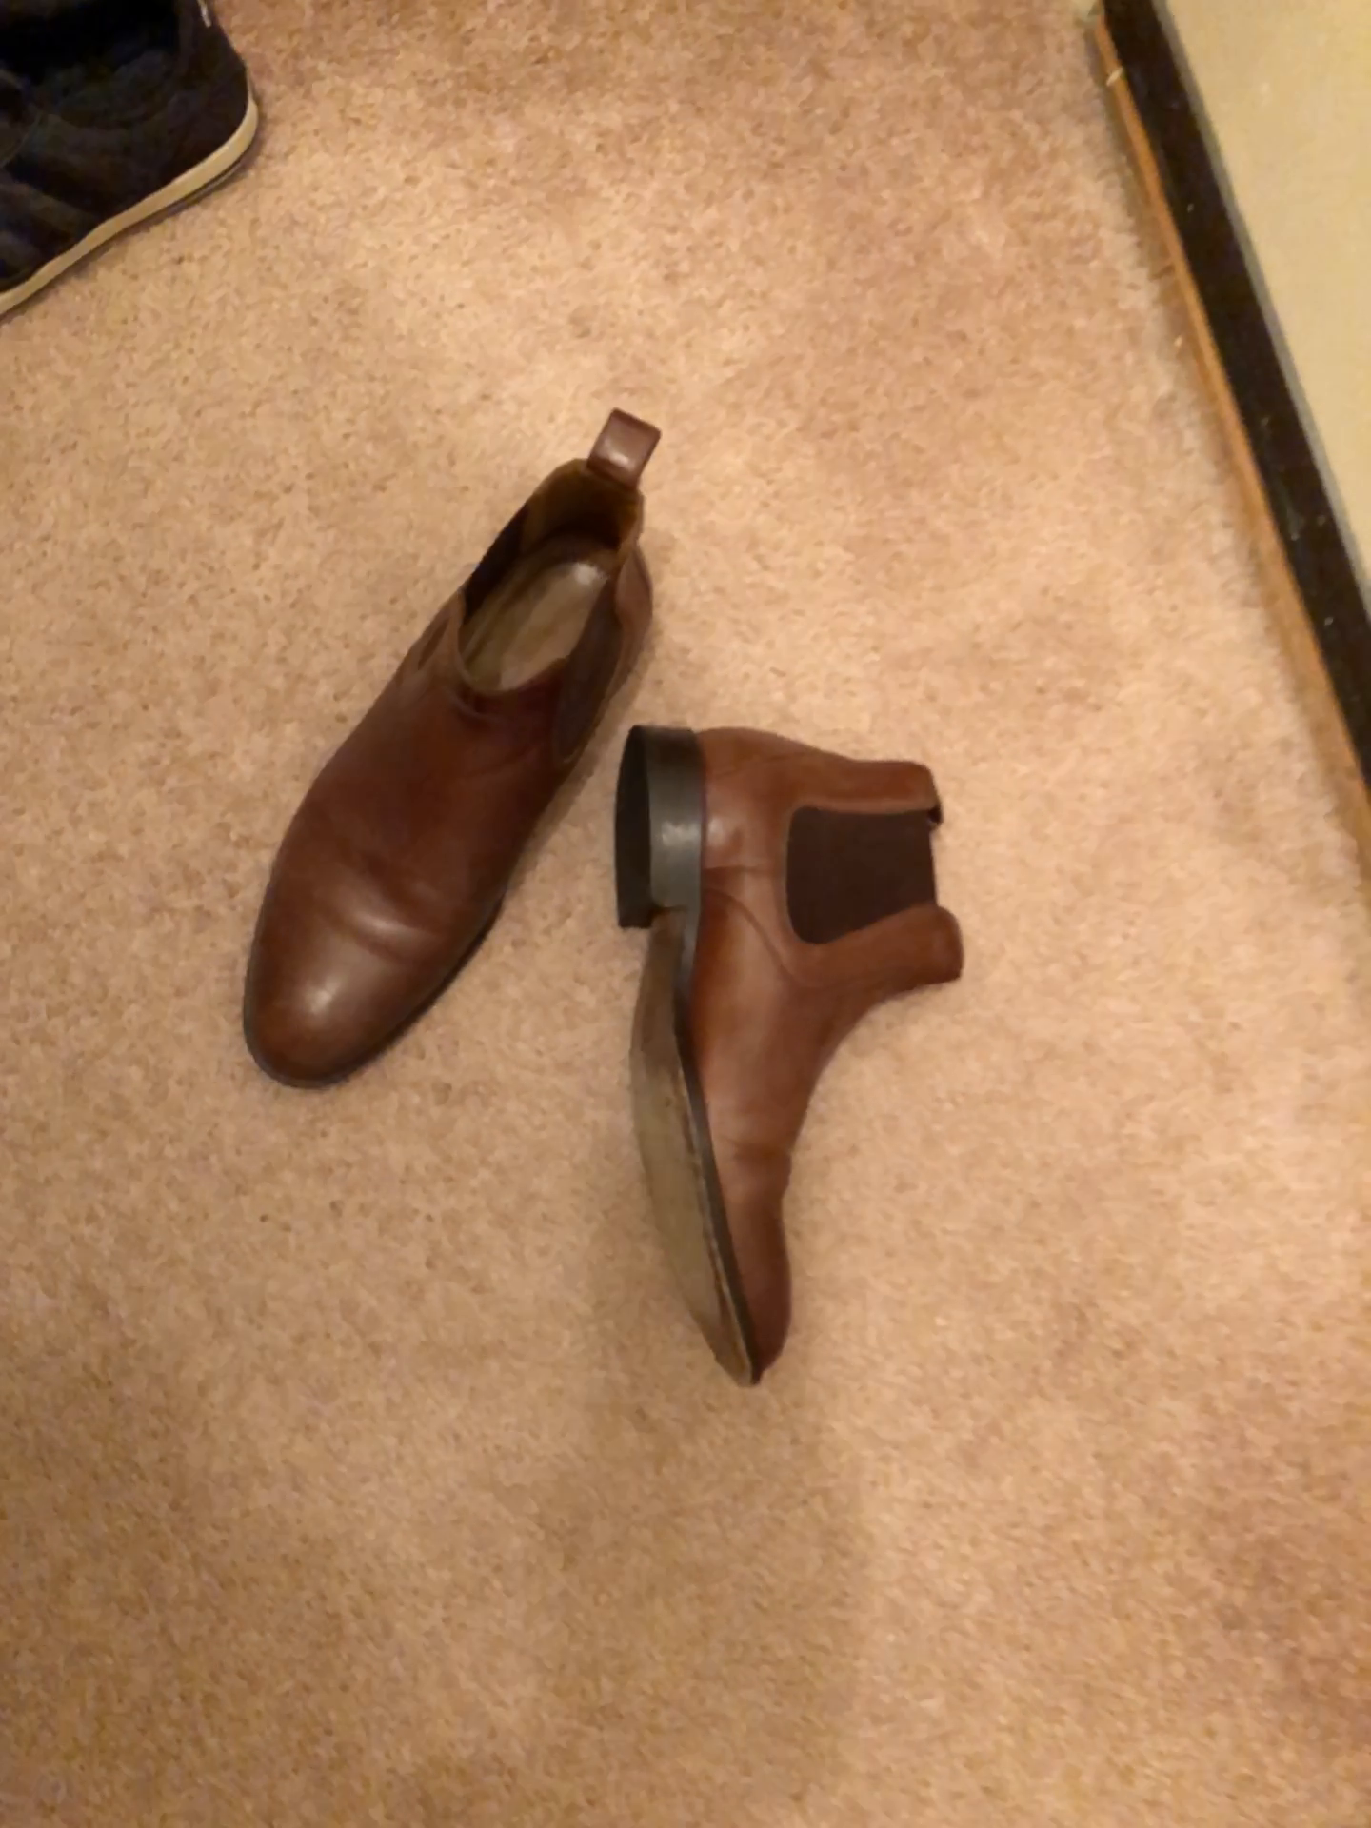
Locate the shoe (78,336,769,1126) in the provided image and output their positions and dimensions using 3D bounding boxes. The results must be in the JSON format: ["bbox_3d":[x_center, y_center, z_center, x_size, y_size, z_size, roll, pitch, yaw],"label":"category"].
[{"bbox_3d":[-0.102,-0.066,0.651,0.109,0.159,0.296,34,79,-1],"label":"shoe"}]

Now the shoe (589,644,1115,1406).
[{"bbox_3d":[0.065,0.046,0.688,0.169,0.119,0.296,-7,83,-10],"label":"shoe"}]
